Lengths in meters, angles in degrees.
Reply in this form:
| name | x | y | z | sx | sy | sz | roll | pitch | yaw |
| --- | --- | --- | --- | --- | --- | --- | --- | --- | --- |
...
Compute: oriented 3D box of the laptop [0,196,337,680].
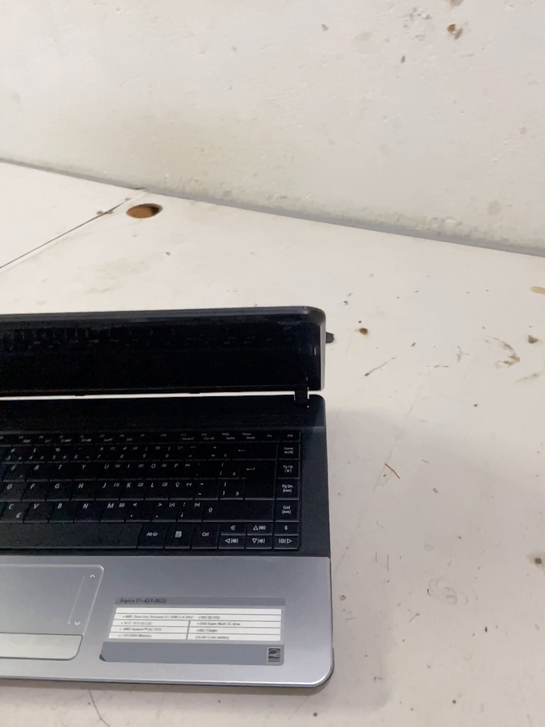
| name | x | y | z | sx | sy | sz | roll | pitch | yaw |
| --- | --- | --- | --- | --- | --- | --- | --- | --- | --- |
| laptop | -0.133 | 0.035 | 0.365 | 0.333 | 0.184 | 0.239 | -1 | 39 | 4 |
